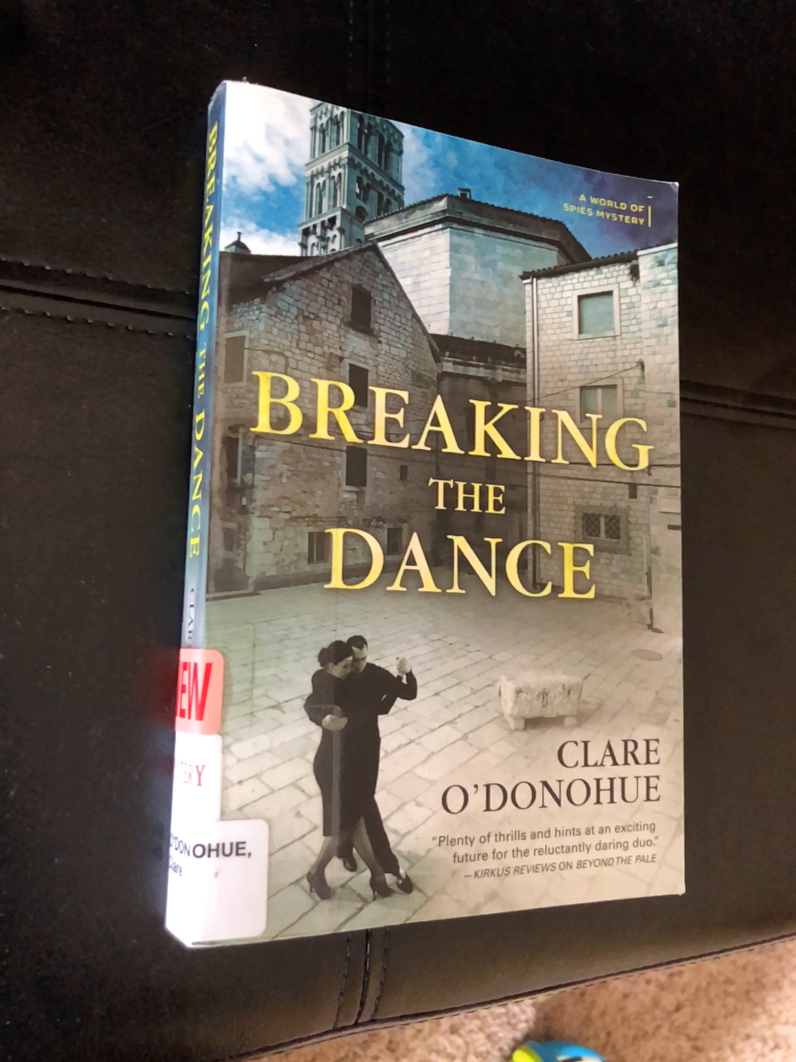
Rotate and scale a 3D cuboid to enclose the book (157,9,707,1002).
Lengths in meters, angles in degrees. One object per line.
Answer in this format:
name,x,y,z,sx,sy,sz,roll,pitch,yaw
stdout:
book,0.017,-0.004,0.237,0.141,0.040,0.210,5,84,-28
